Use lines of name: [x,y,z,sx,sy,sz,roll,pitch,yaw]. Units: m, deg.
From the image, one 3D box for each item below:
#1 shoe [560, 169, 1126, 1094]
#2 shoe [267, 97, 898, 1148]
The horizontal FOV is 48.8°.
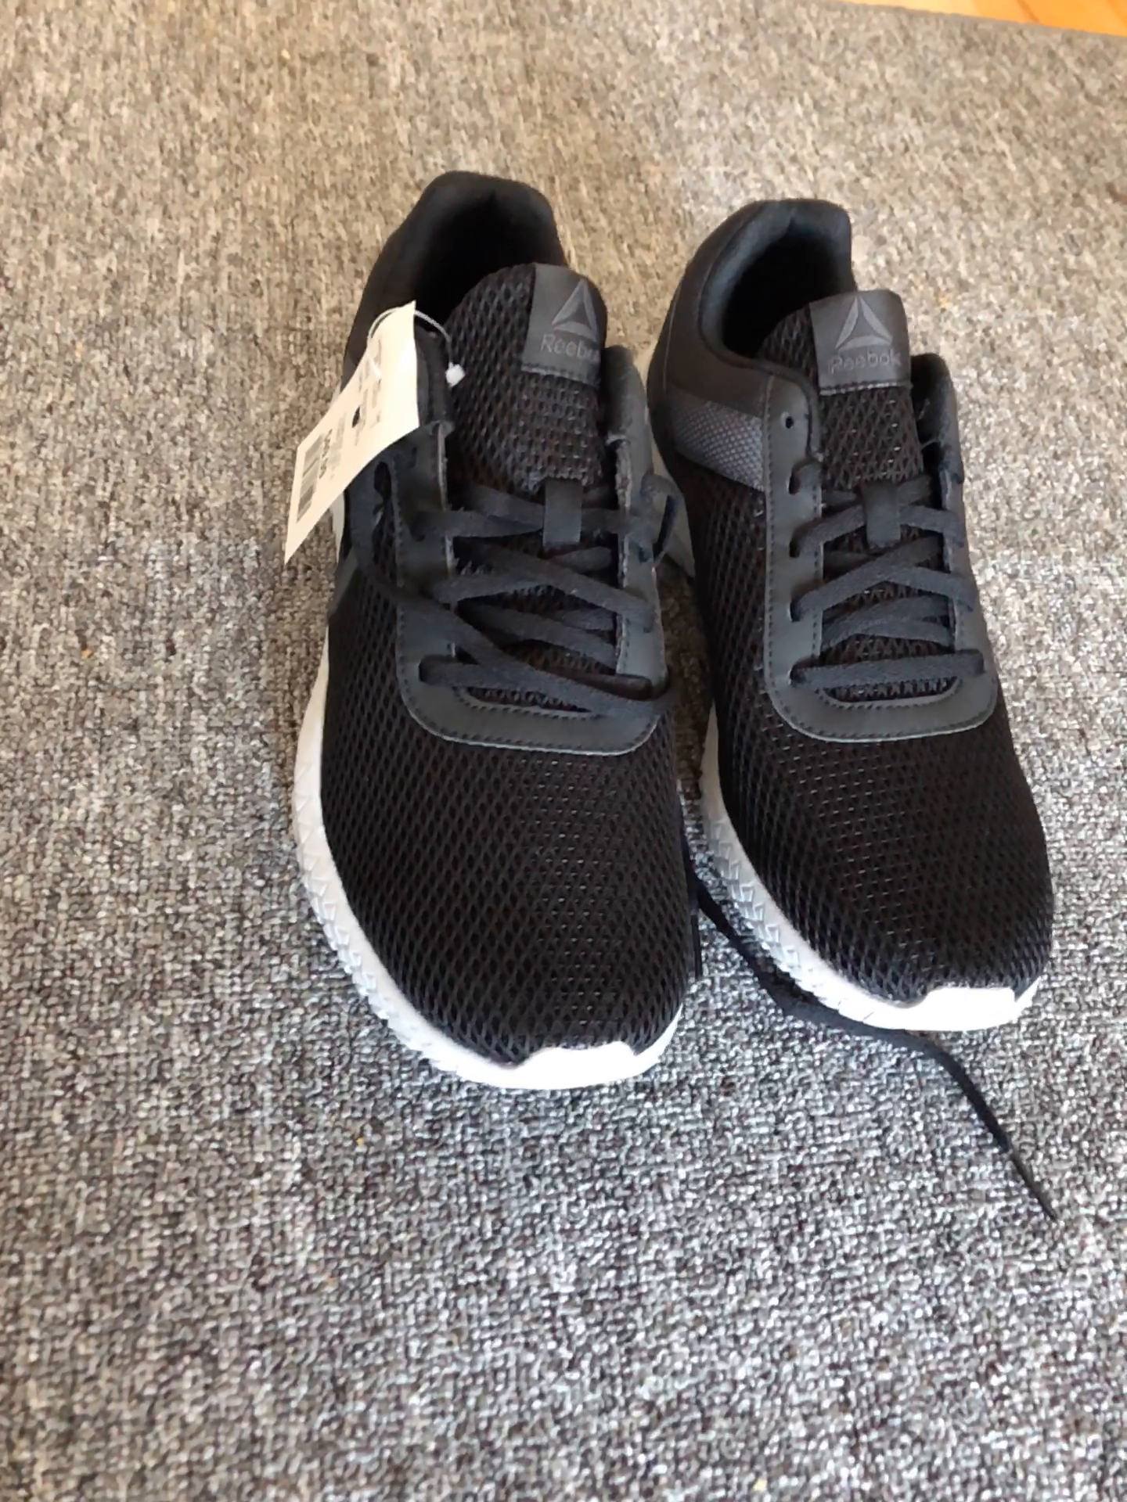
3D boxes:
shoe: [0.090,-0.057,0.413,0.110,0.099,0.302,-3,56,-15]
shoe: [-0.021,-0.056,0.364,0.116,0.099,0.302,-2,56,-14]
